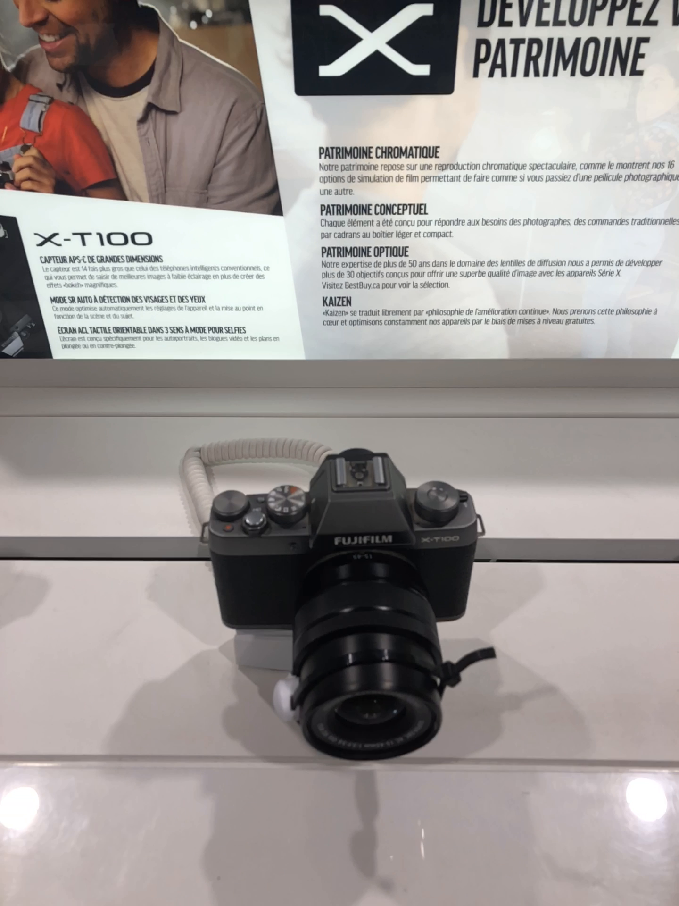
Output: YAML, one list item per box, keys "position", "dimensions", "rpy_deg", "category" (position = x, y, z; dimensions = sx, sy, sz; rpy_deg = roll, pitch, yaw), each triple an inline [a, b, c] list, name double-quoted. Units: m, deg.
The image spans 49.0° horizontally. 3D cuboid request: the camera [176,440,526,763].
- position: [0.005, 0.067, 0.350]
  dimensions: [0.130, 0.099, 0.108]
  rpy_deg: [-1, 36, 0]
  category: "camera"
